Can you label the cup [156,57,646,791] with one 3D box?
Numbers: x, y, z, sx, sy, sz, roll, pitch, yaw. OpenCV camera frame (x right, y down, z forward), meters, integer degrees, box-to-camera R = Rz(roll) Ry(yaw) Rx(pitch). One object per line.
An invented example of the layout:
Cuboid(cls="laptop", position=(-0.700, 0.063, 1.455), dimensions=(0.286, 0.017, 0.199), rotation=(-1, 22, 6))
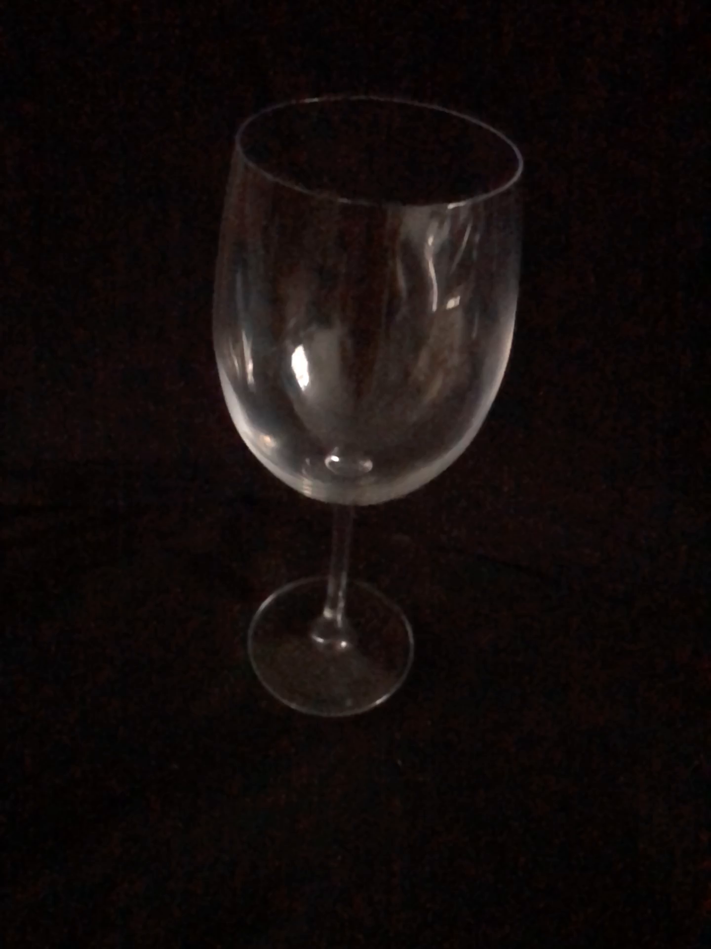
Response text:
Cuboid(cls="cup", position=(0.004, 0.000, 0.314), dimensions=(0.100, 0.266, 0.103), rotation=(1, 44, -1))
